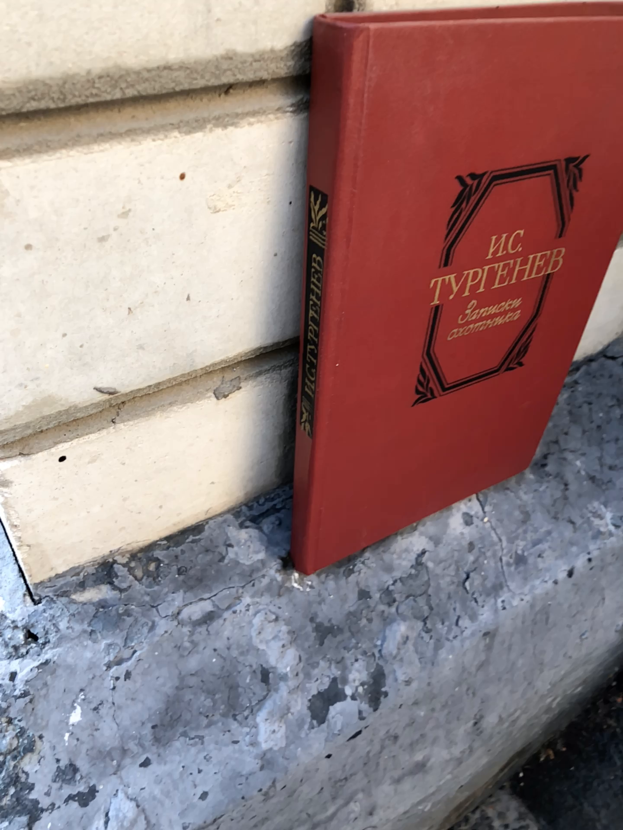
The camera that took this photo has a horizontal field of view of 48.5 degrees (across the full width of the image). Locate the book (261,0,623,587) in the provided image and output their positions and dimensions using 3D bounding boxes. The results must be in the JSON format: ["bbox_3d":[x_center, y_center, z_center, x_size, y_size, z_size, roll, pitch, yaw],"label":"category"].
[{"bbox_3d":[0.054,-0.037,0.262,0.147,0.205,0.026,-19,44,-24],"label":"book"}]
